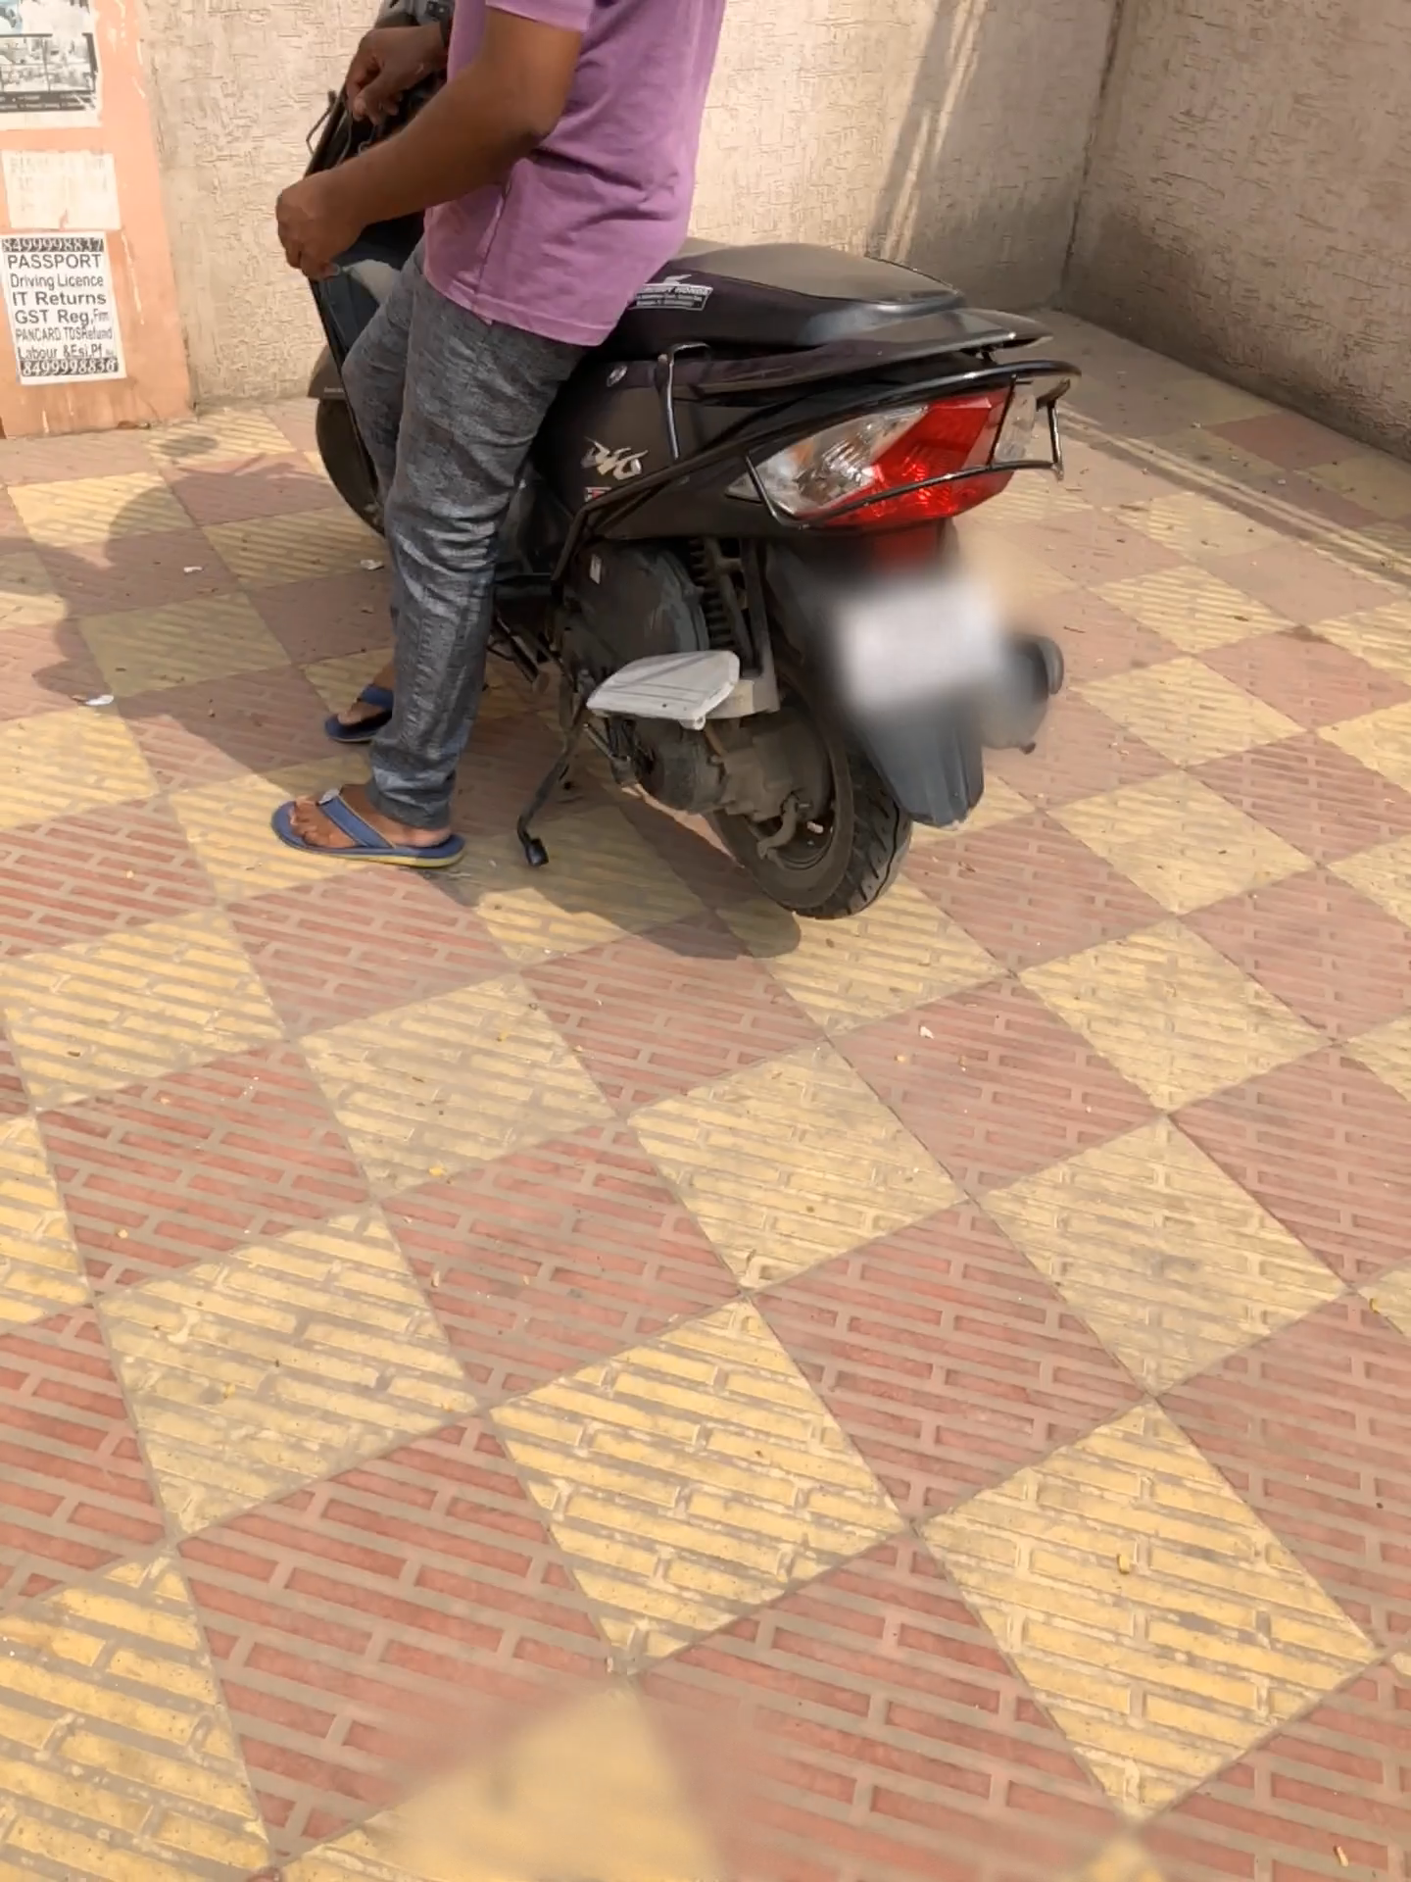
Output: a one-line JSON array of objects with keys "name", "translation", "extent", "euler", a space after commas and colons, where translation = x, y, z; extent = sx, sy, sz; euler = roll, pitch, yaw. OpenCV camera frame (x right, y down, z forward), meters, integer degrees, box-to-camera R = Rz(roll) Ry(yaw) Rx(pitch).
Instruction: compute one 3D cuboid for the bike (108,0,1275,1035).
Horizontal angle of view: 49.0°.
[{"name": "bike", "translation": [-0.175, -0.741, 2.123], "extent": [0.576, 0.987, 1.509], "euler": [-22, 44, -29]}]
